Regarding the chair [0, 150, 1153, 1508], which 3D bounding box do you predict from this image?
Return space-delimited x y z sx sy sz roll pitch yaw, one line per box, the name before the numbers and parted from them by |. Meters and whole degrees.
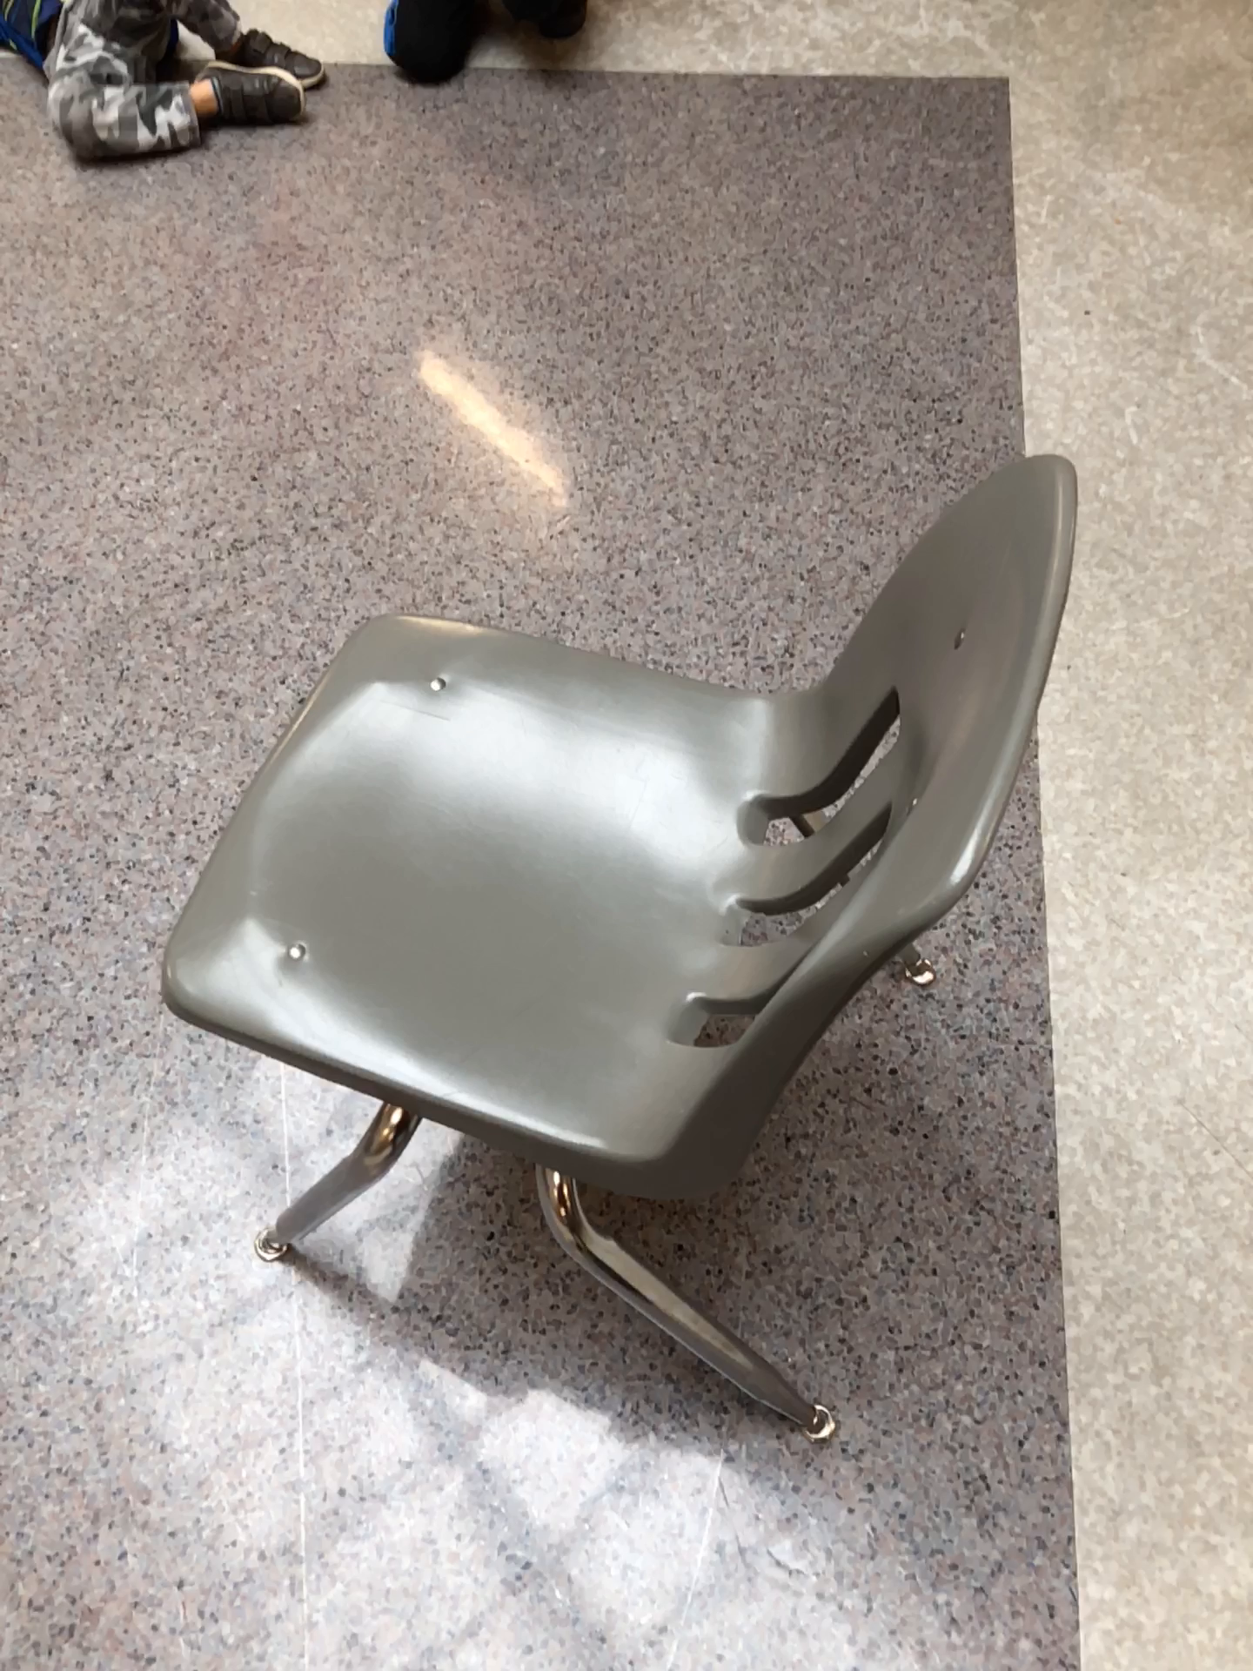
chair | -0.051 0.038 0.914 0.551 0.667 0.512 14 58 12
